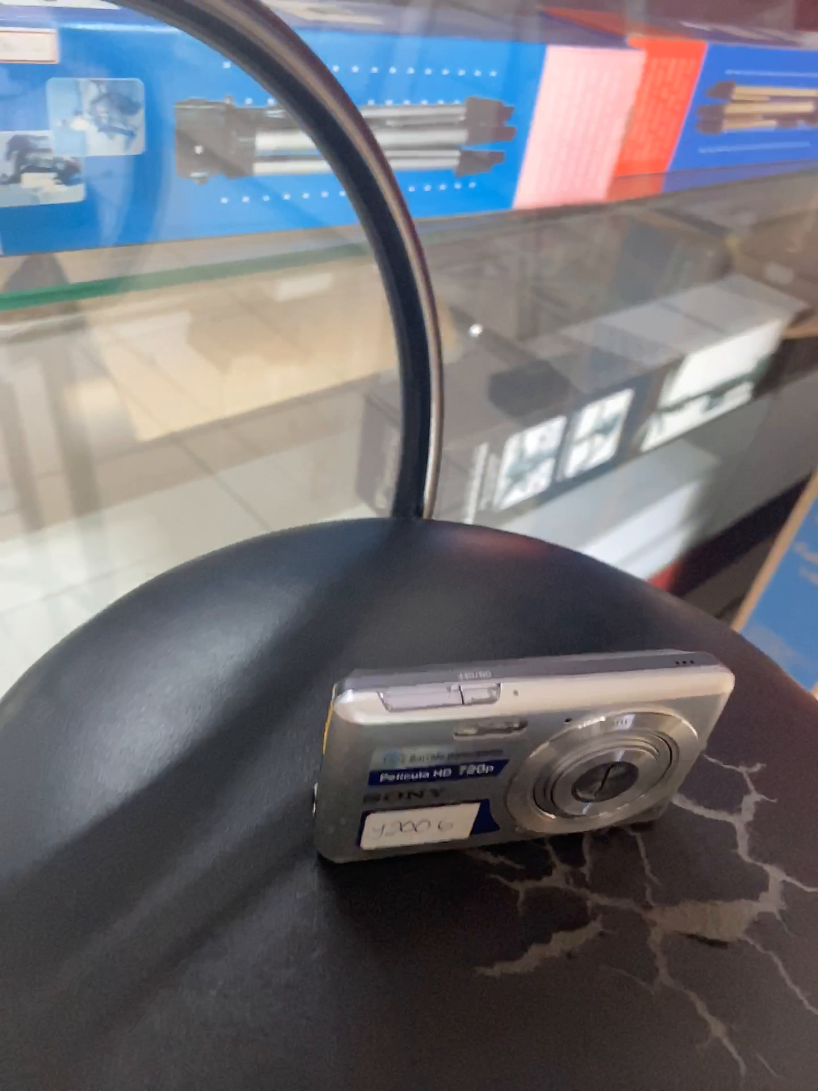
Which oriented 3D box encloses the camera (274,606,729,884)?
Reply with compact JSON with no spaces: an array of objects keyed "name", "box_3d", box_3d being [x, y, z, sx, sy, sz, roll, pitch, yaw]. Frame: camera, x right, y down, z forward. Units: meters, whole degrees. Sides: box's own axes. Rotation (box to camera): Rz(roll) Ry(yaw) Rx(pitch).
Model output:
[{"name":"camera","box_3d":[0.019,0.050,0.216,0.100,0.060,0.030,-1,40,-15]}]
